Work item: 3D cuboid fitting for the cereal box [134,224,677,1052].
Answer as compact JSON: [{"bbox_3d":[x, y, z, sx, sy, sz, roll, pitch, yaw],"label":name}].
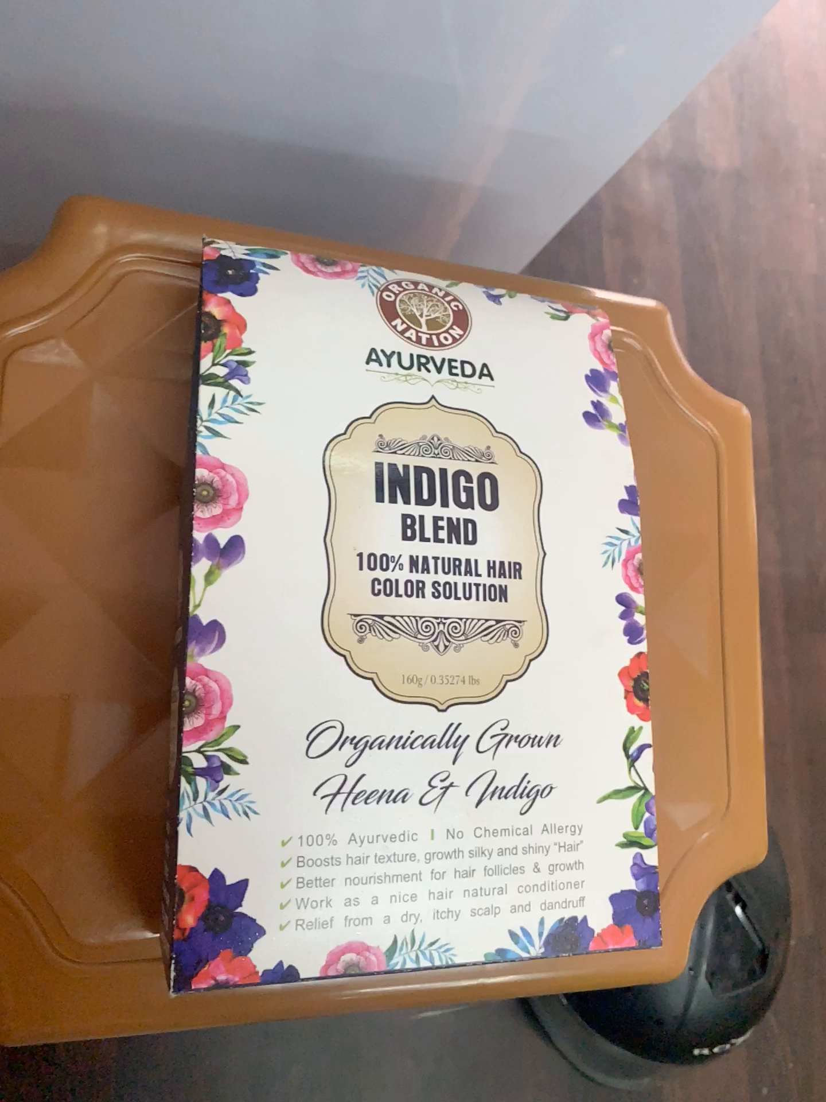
[{"bbox_3d":[-0.005,0.022,0.261,0.140,0.070,0.200,3,79,-18],"label":"cereal box"}]
